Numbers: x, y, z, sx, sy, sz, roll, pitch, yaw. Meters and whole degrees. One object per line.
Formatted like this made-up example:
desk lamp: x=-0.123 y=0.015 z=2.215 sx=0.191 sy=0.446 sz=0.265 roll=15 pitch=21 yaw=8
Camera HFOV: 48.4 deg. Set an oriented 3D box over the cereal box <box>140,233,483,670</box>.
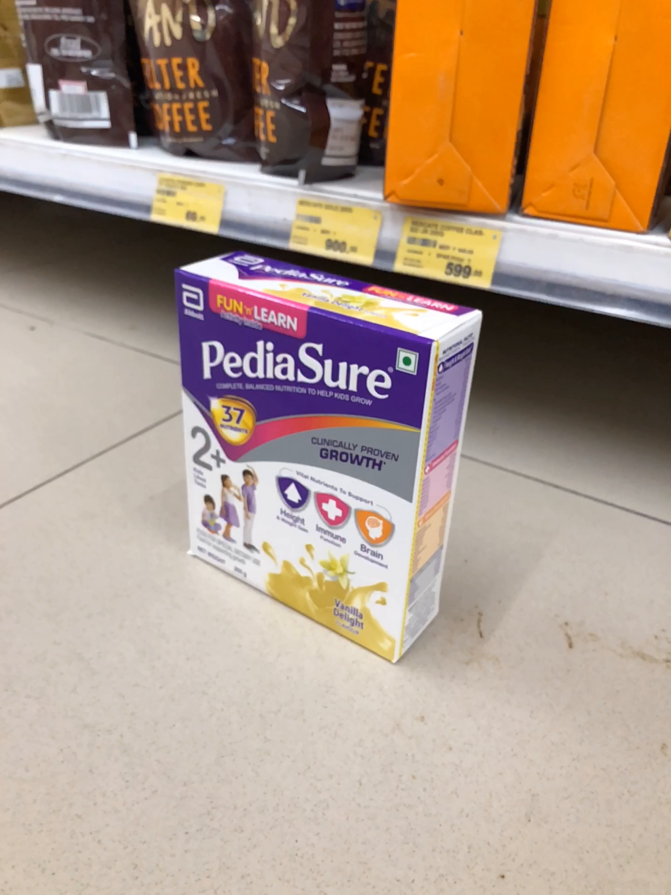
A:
cereal box: x=-0.017 y=-0.003 z=0.346 sx=0.140 sy=0.159 sz=0.050 roll=21 pitch=33 yaw=30
